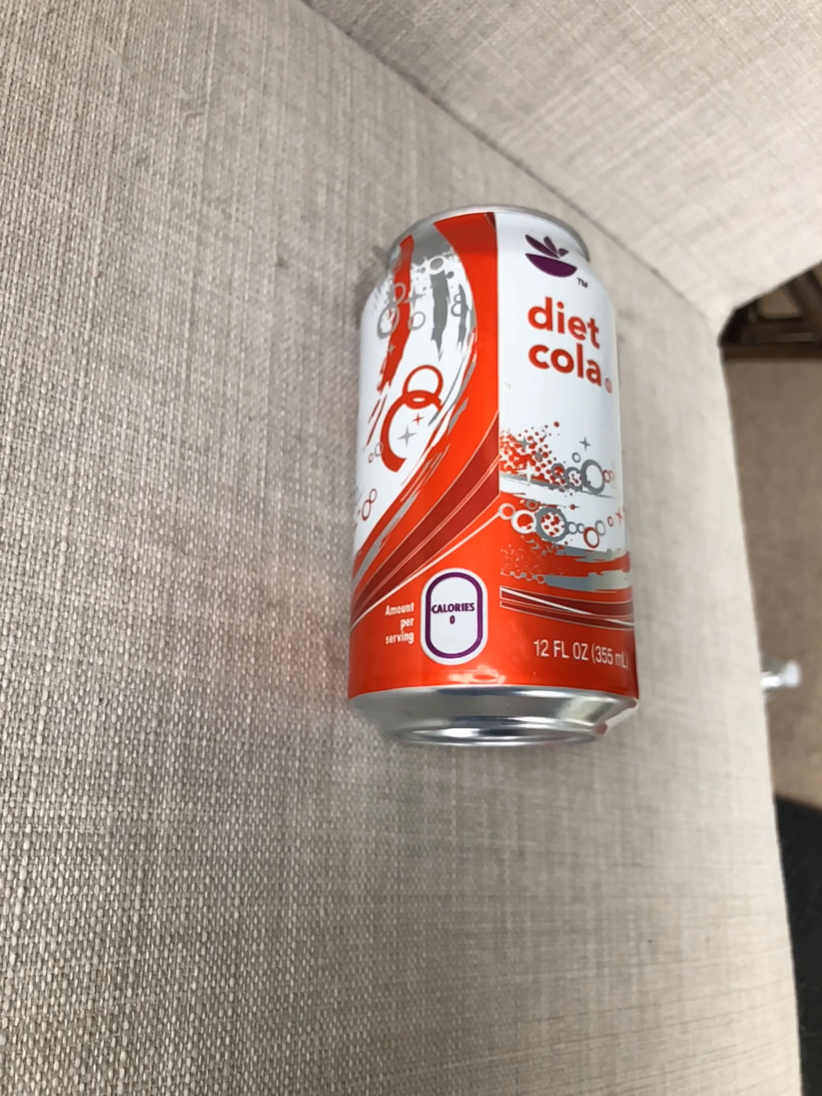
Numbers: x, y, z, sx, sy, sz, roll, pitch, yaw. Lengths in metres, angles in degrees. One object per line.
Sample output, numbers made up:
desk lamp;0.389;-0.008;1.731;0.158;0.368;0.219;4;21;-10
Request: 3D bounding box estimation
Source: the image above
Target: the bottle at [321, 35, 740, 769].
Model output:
bottle;0.030;-0.025;0.223;0.070;0.062;0.149;16;70;-44
